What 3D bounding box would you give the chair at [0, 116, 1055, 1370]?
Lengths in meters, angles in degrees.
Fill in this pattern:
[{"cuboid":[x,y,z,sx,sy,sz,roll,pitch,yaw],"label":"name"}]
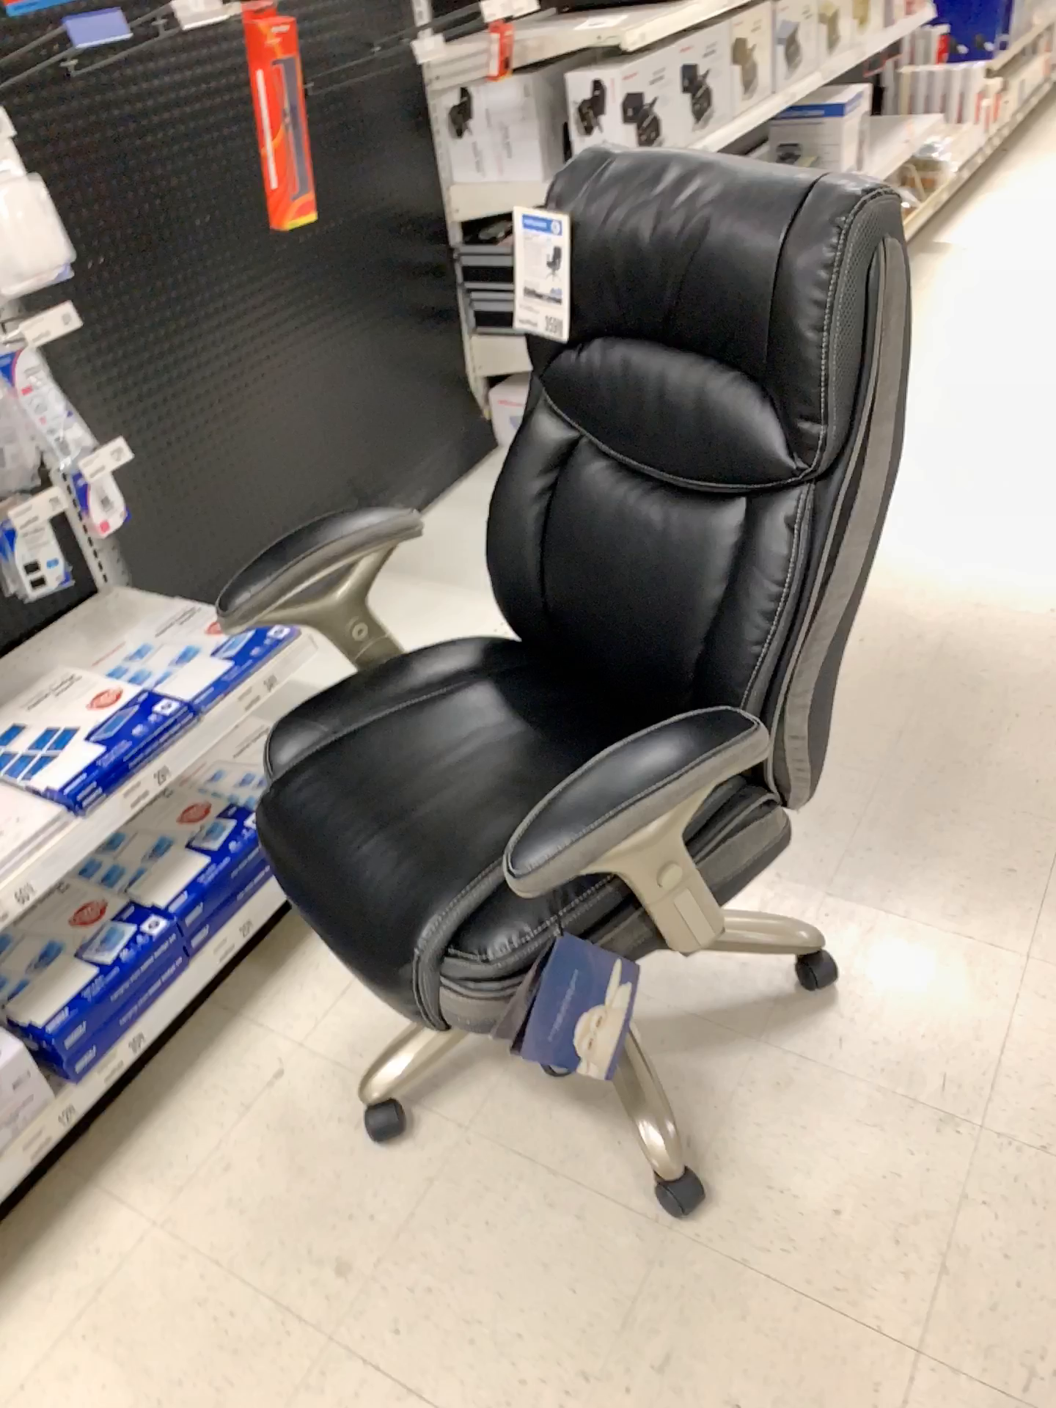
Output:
[{"cuboid":[-0.001,-0.002,1.310,0.741,1.093,0.744,-31,42,-27],"label":"chair"}]
